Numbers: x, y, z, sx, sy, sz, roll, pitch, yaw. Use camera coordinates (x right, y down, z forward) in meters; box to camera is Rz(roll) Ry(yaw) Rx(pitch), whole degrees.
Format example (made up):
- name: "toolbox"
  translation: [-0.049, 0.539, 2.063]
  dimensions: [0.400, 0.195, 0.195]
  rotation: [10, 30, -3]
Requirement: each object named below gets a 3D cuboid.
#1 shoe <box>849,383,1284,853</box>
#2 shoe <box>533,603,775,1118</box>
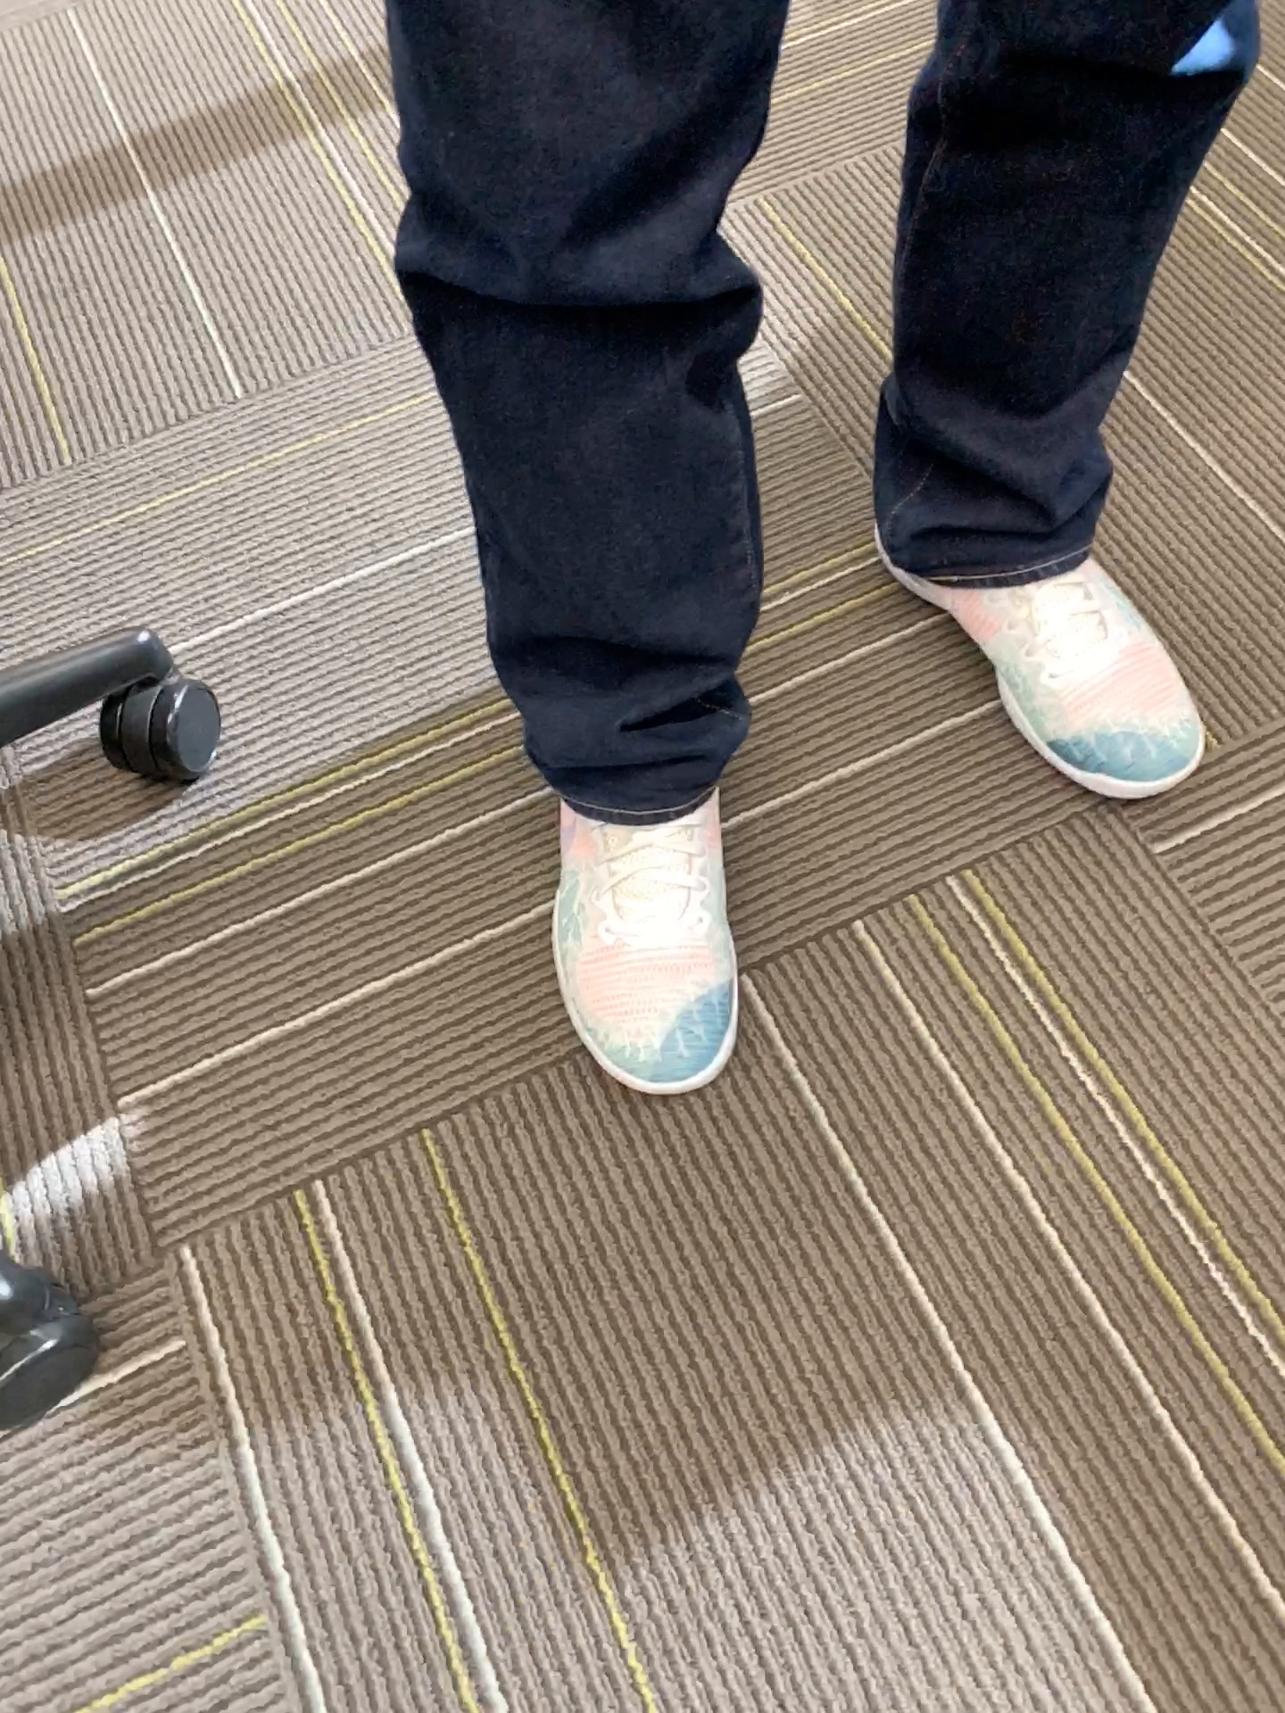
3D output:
- name: "shoe"
  translation: [0.262, -0.159, 0.836]
  dimensions: [0.122, 0.078, 0.290]
  rotation: [-27, 63, -7]
- name: "shoe"
  translation: [0.004, -0.002, 0.765]
  dimensions: [0.117, 0.088, 0.283]
  rotation: [-5, 62, 3]
